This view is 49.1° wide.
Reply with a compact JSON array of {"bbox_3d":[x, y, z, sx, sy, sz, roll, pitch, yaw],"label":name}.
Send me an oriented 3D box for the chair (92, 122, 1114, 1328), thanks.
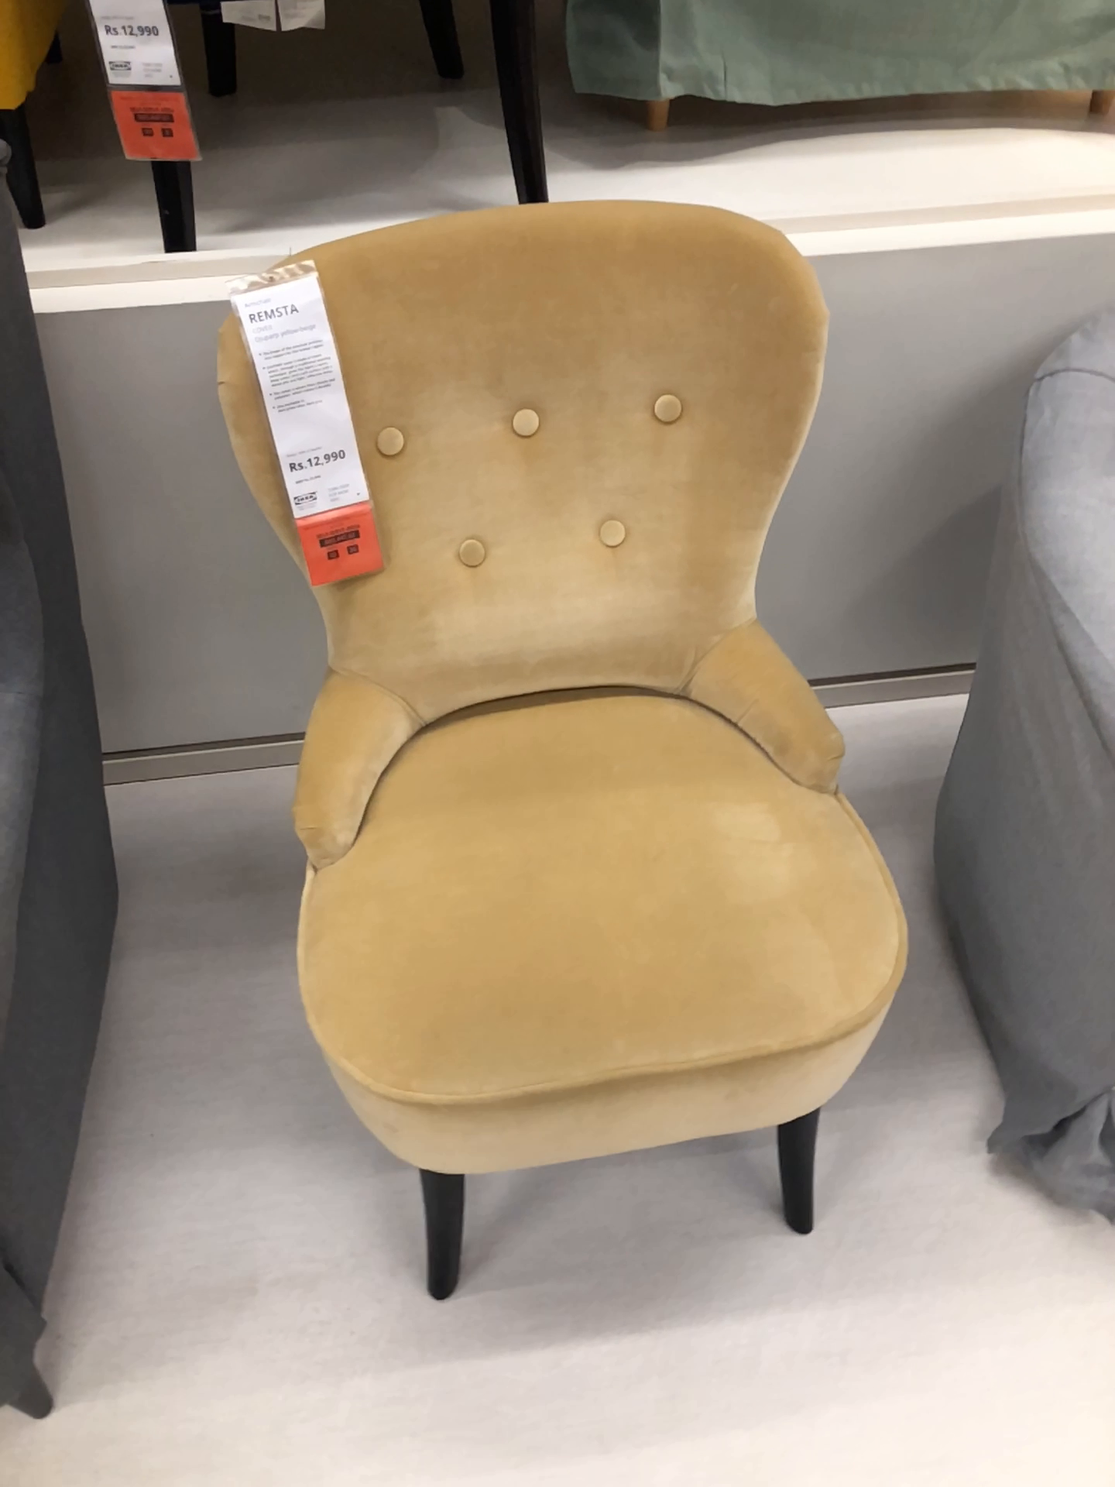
[{"bbox_3d":[0.021,0.021,1.142,0.580,0.865,0.644,-7,48,-5],"label":"chair"}]
